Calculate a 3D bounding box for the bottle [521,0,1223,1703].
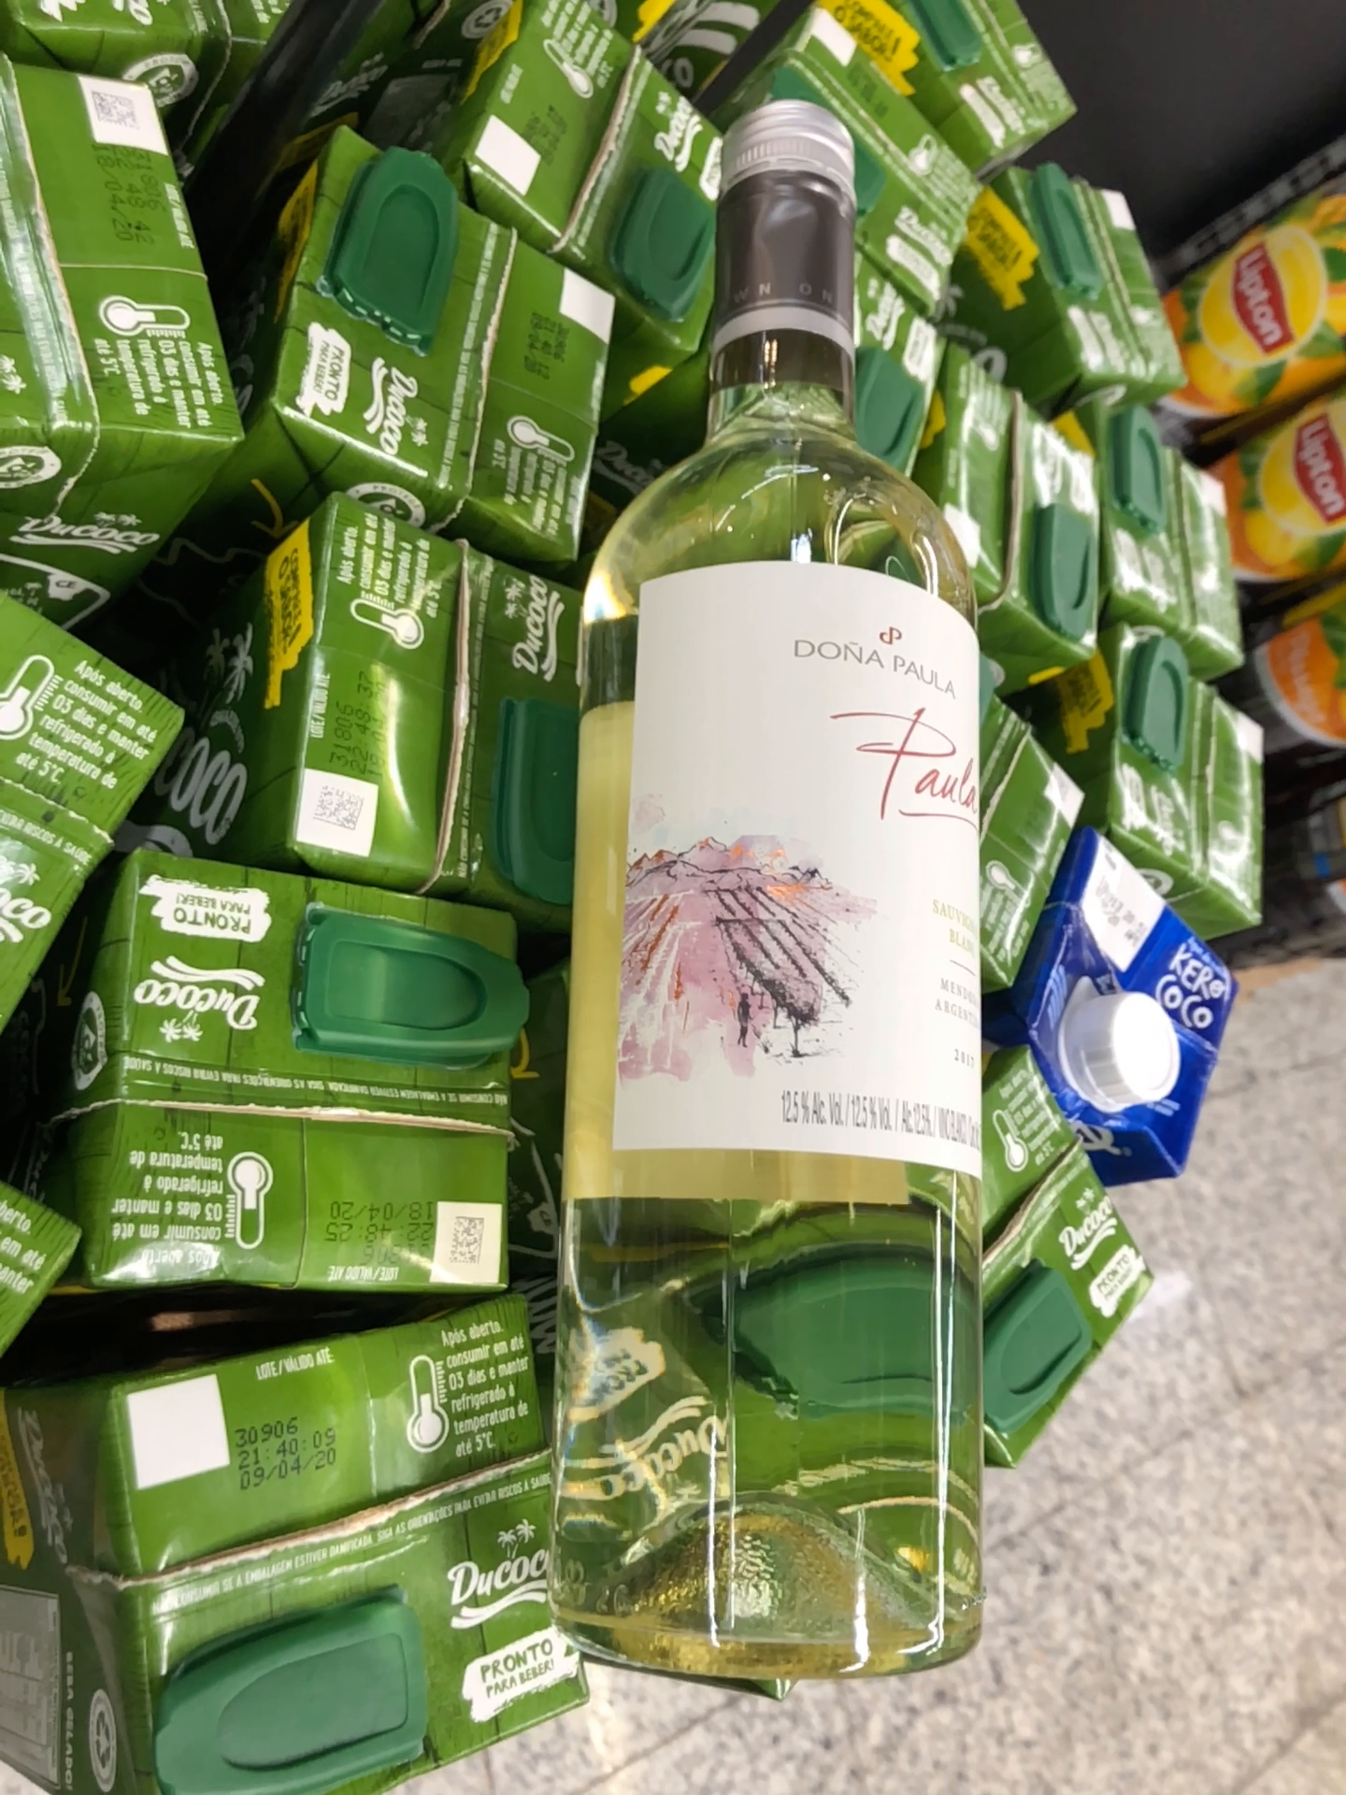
[{"bbox_3d":[0.030,-0.043,0.283,0.080,0.070,0.331,14,66,-35],"label":"bottle"}]
